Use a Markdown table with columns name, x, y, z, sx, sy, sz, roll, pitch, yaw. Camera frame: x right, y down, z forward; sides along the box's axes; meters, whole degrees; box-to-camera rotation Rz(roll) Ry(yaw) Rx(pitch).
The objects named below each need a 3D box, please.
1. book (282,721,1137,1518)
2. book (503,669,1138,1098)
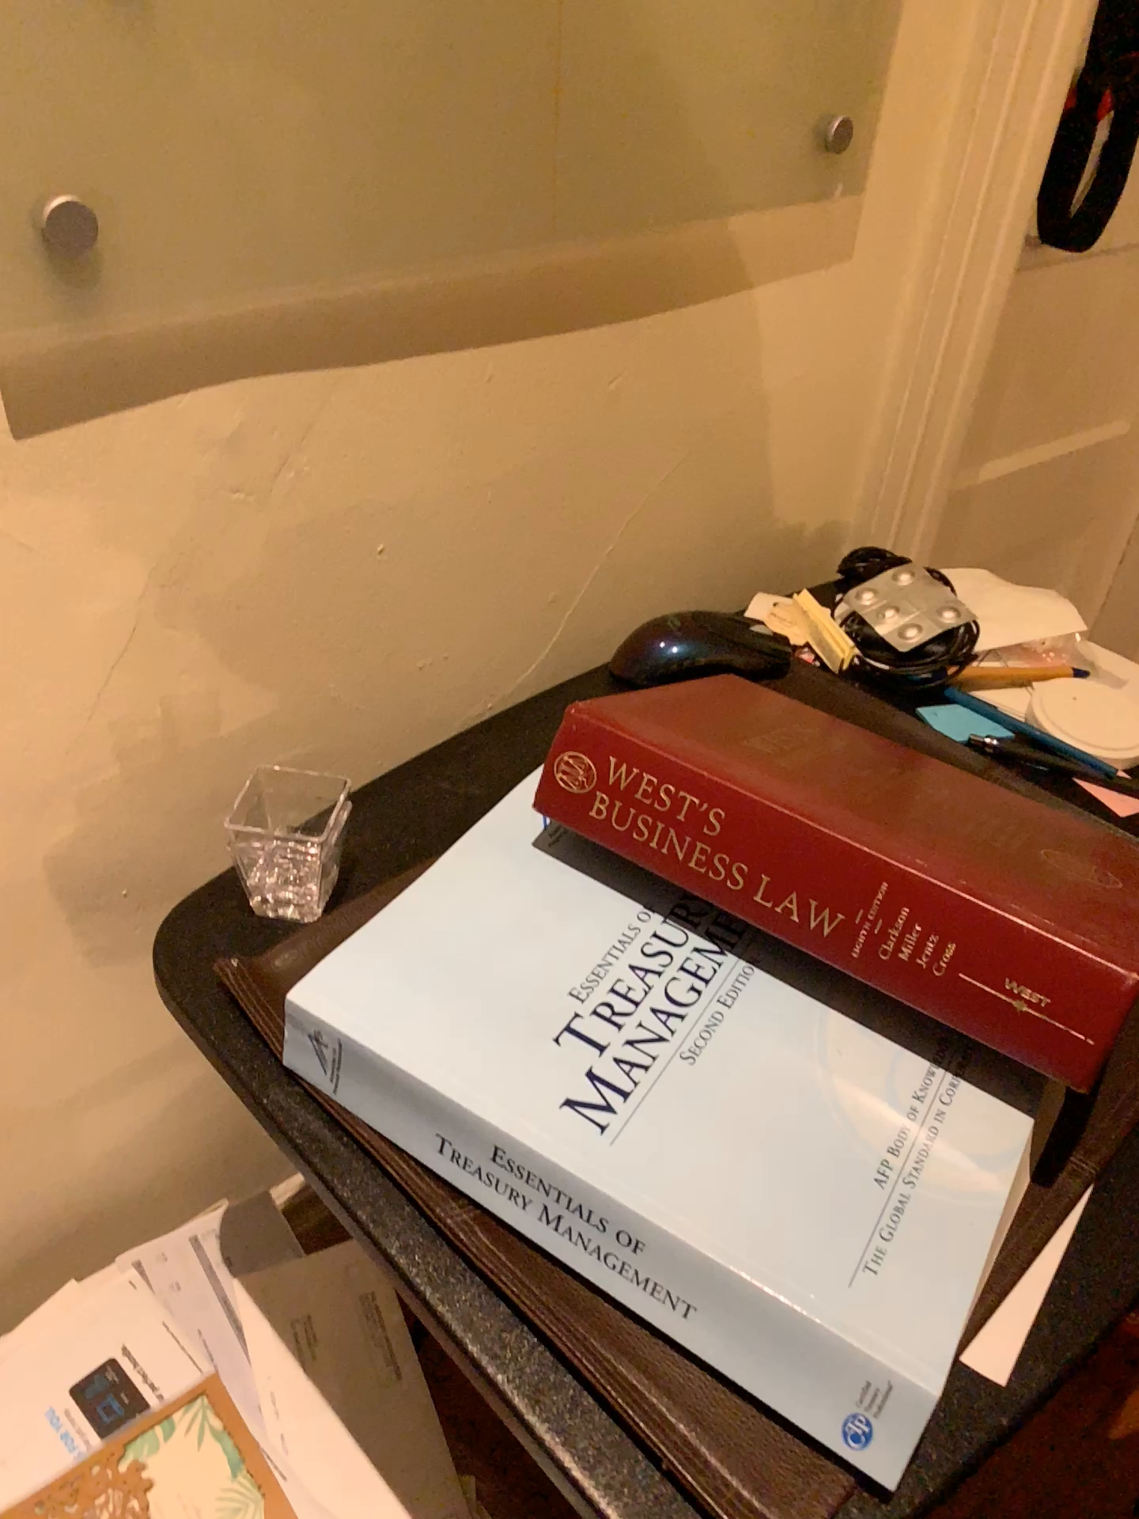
| name | x | y | z | sx | sy | sz | roll | pitch | yaw |
| --- | --- | --- | --- | --- | --- | --- | --- | --- | --- |
| book | 0.060 | 0.114 | 0.489 | 0.271 | 0.070 | 0.221 | 26 | 42 | 24 |
| book | 0.139 | 0.034 | 0.560 | 0.271 | 0.050 | 0.210 | 26 | 18 | 24 |
